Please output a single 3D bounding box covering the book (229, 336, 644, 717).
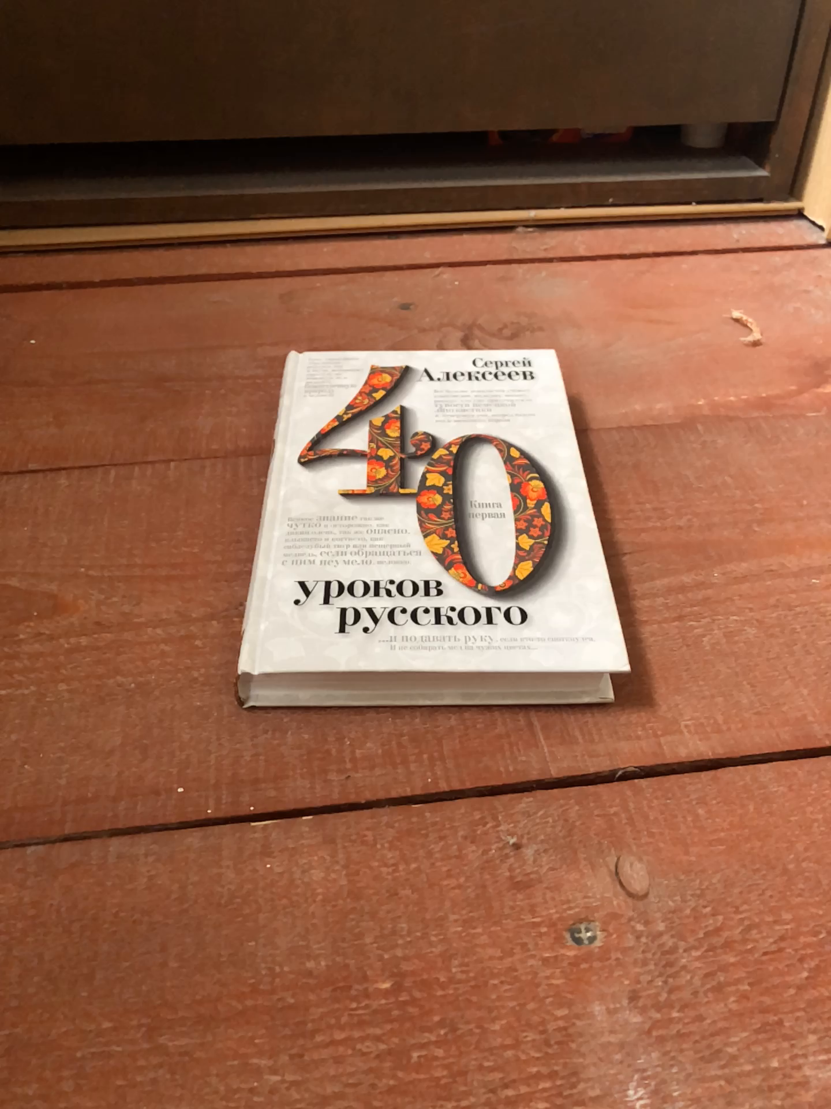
[{"bbox_3d":[0.005,-0.024,0.383,0.135,0.030,0.201,0,44,-1],"label":"book"}]
